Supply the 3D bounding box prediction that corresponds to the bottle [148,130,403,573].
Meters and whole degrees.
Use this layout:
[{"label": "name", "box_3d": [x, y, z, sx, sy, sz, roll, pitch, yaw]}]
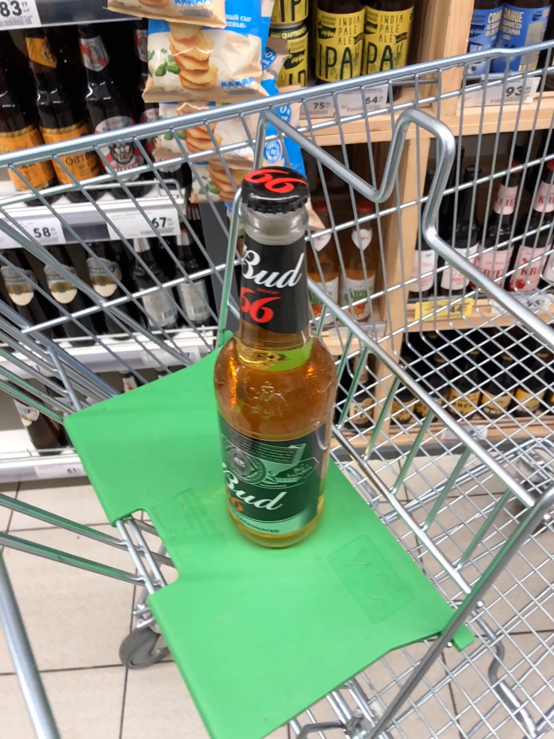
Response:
[{"label": "bottle", "box_3d": [0.001, 0.007, 0.339, 0.080, 0.239, 0.070, 30, 53, 27]}]
